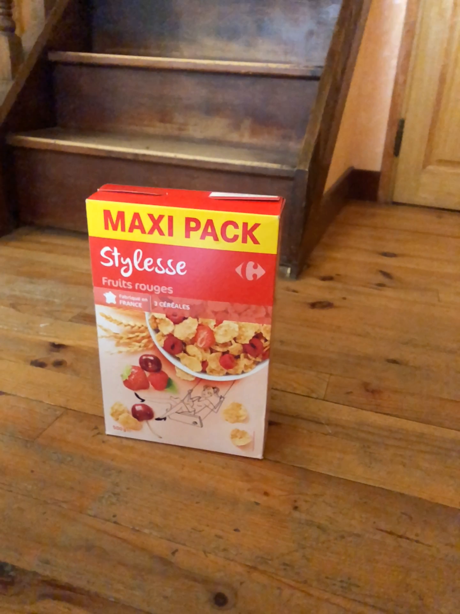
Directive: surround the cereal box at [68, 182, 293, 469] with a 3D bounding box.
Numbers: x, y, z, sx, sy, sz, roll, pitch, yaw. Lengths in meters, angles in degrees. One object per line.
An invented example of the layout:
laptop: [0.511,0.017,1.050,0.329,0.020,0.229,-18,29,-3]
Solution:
cereal box: [-0.051,0.021,0.571,0.210,0.288,0.091,7,24,9]
